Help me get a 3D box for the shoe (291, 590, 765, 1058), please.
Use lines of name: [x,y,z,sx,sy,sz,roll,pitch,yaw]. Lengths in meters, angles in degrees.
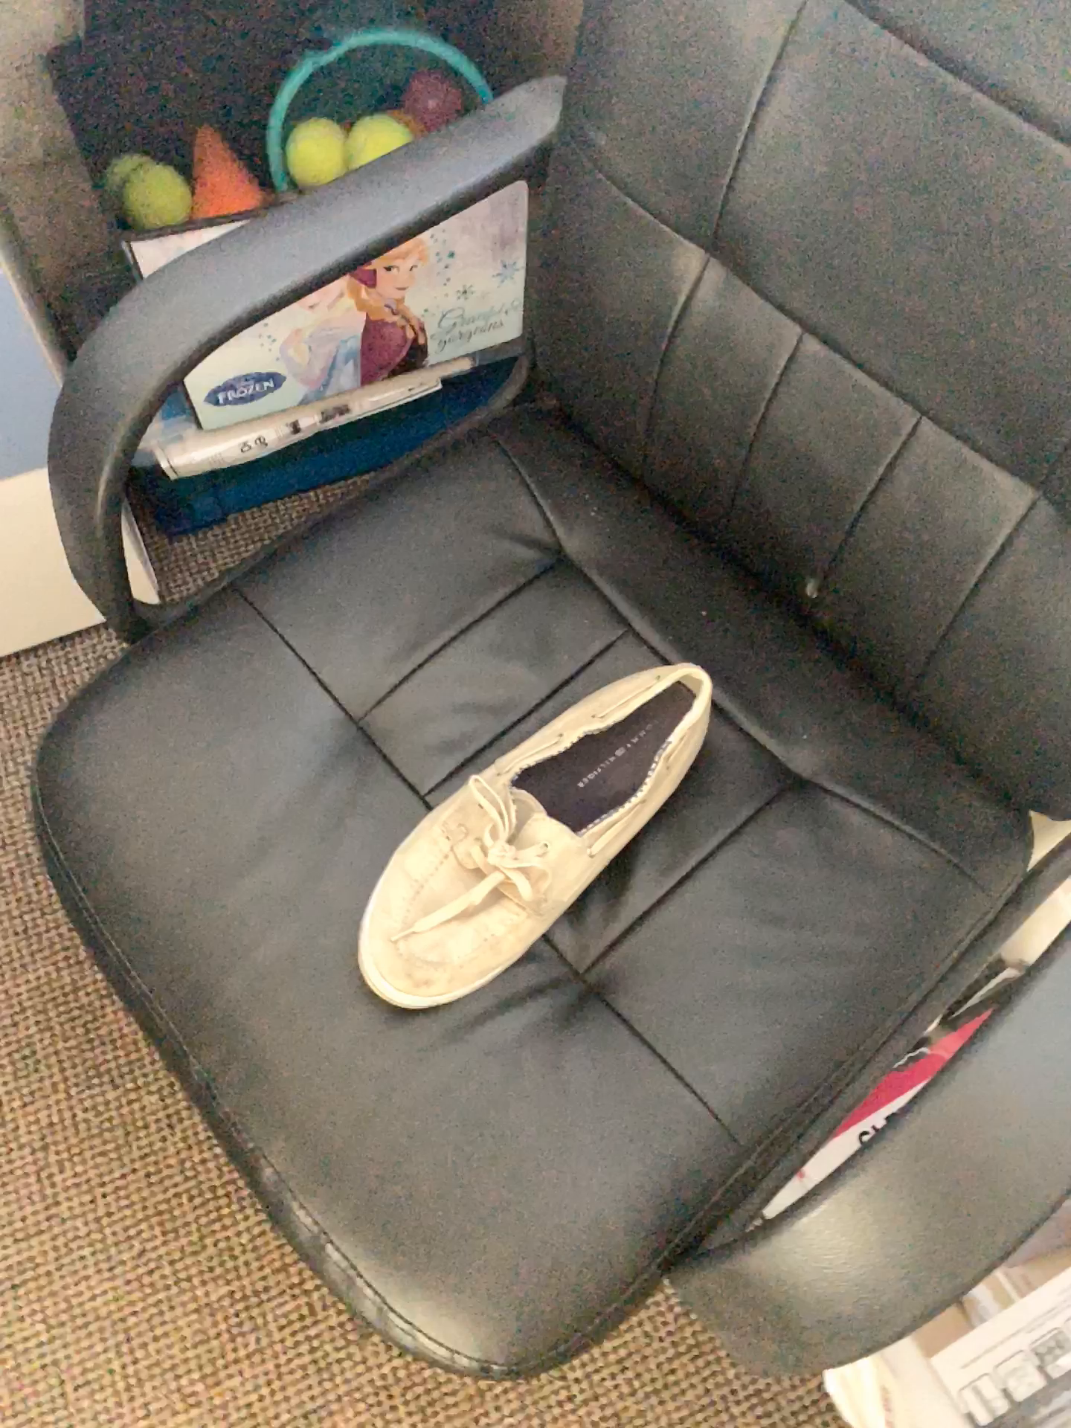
shoe: [0.001,0.058,0.632,0.100,0.070,0.271,42,70,16]
